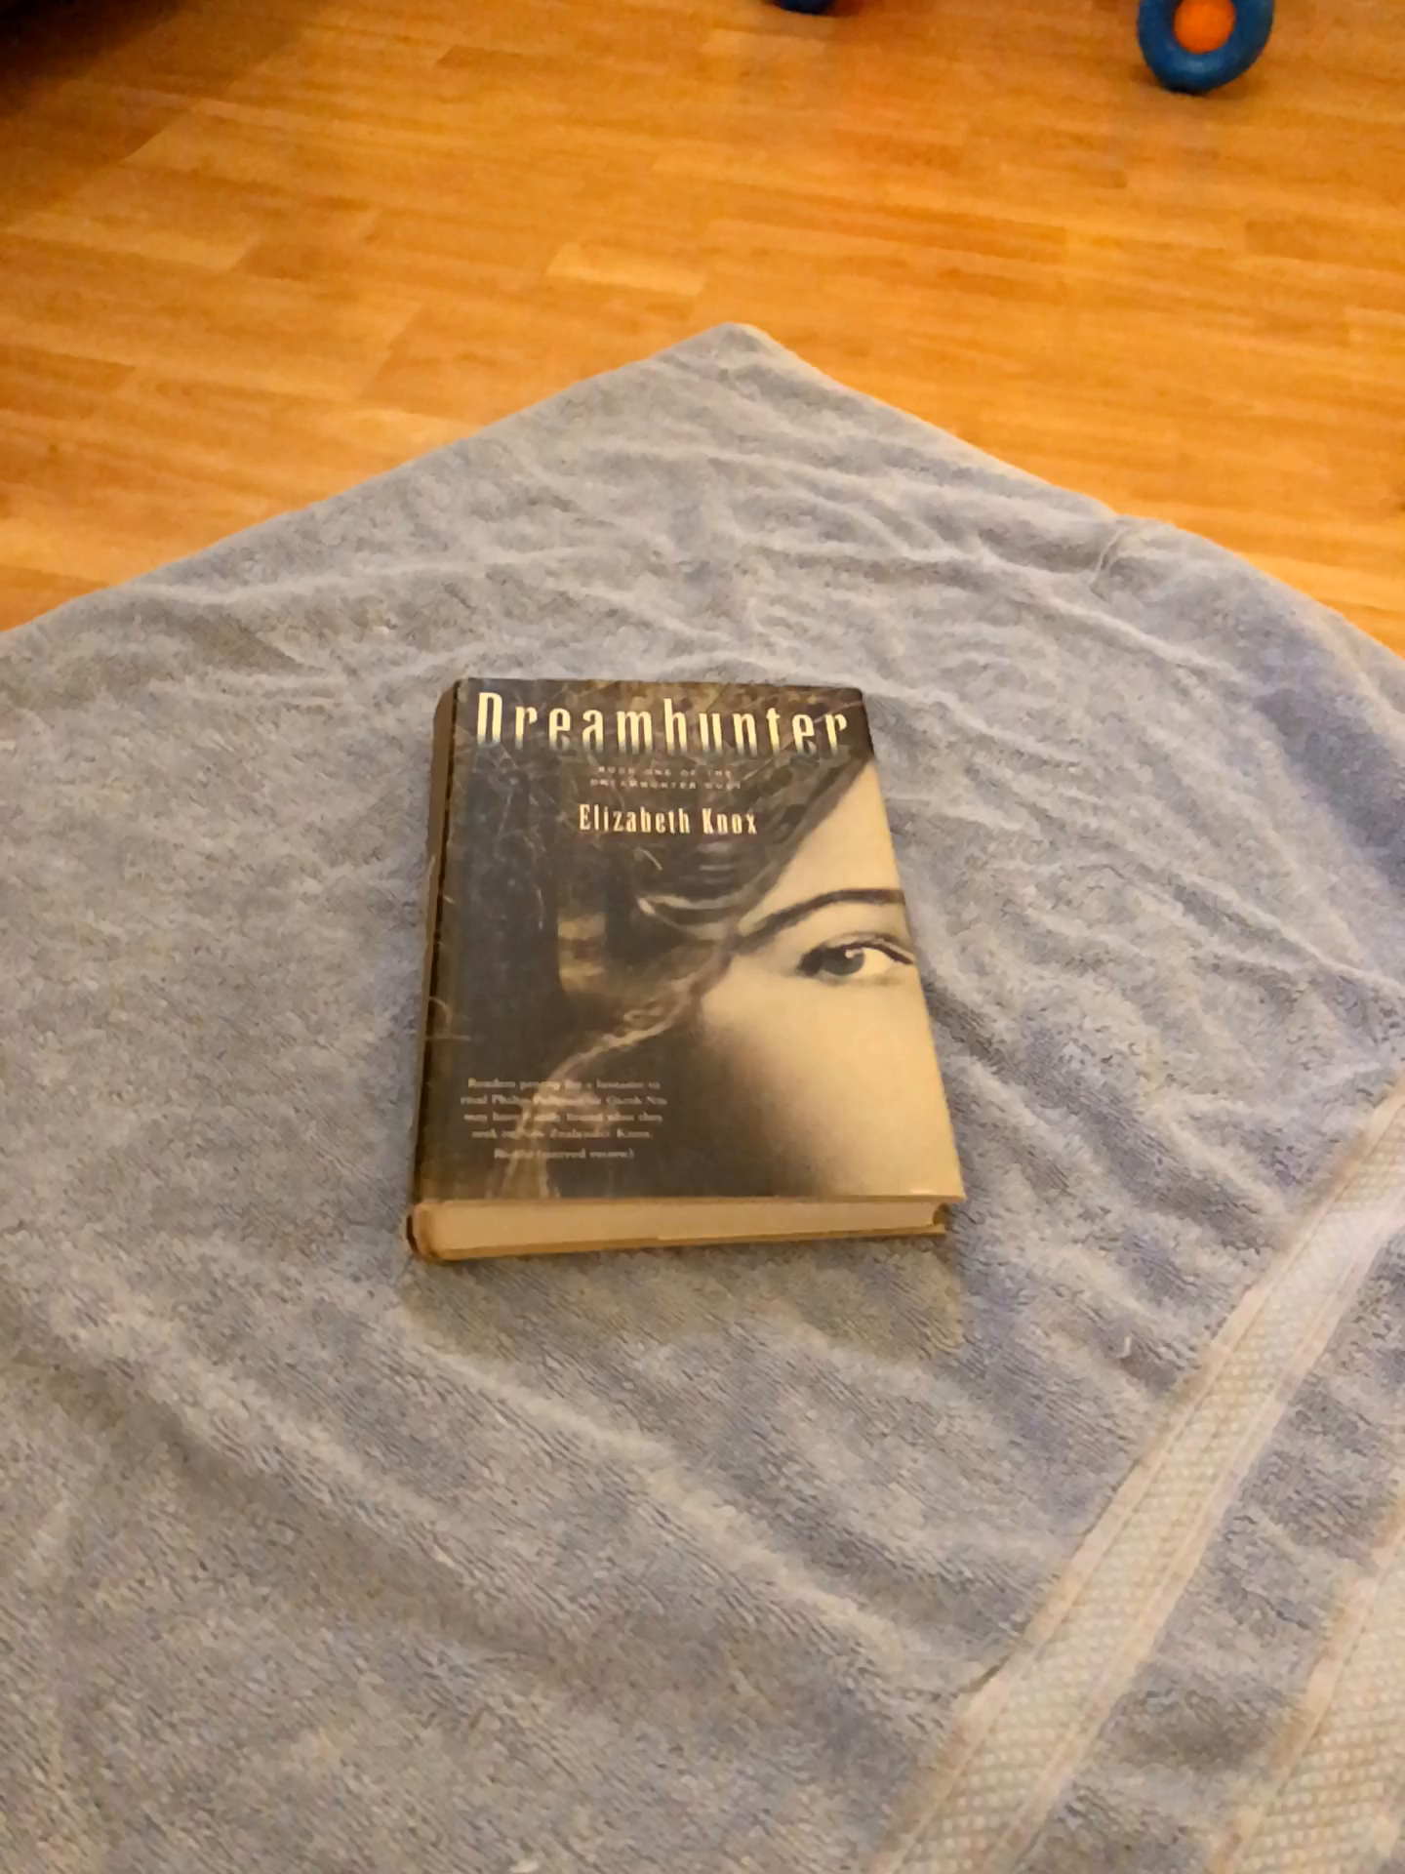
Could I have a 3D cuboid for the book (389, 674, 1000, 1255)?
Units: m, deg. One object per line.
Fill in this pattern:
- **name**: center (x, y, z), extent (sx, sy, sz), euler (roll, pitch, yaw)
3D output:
- **book**: center (-0.009, -0.003, 0.501), extent (0.163, 0.030, 0.226), euler (1, 46, -6)
